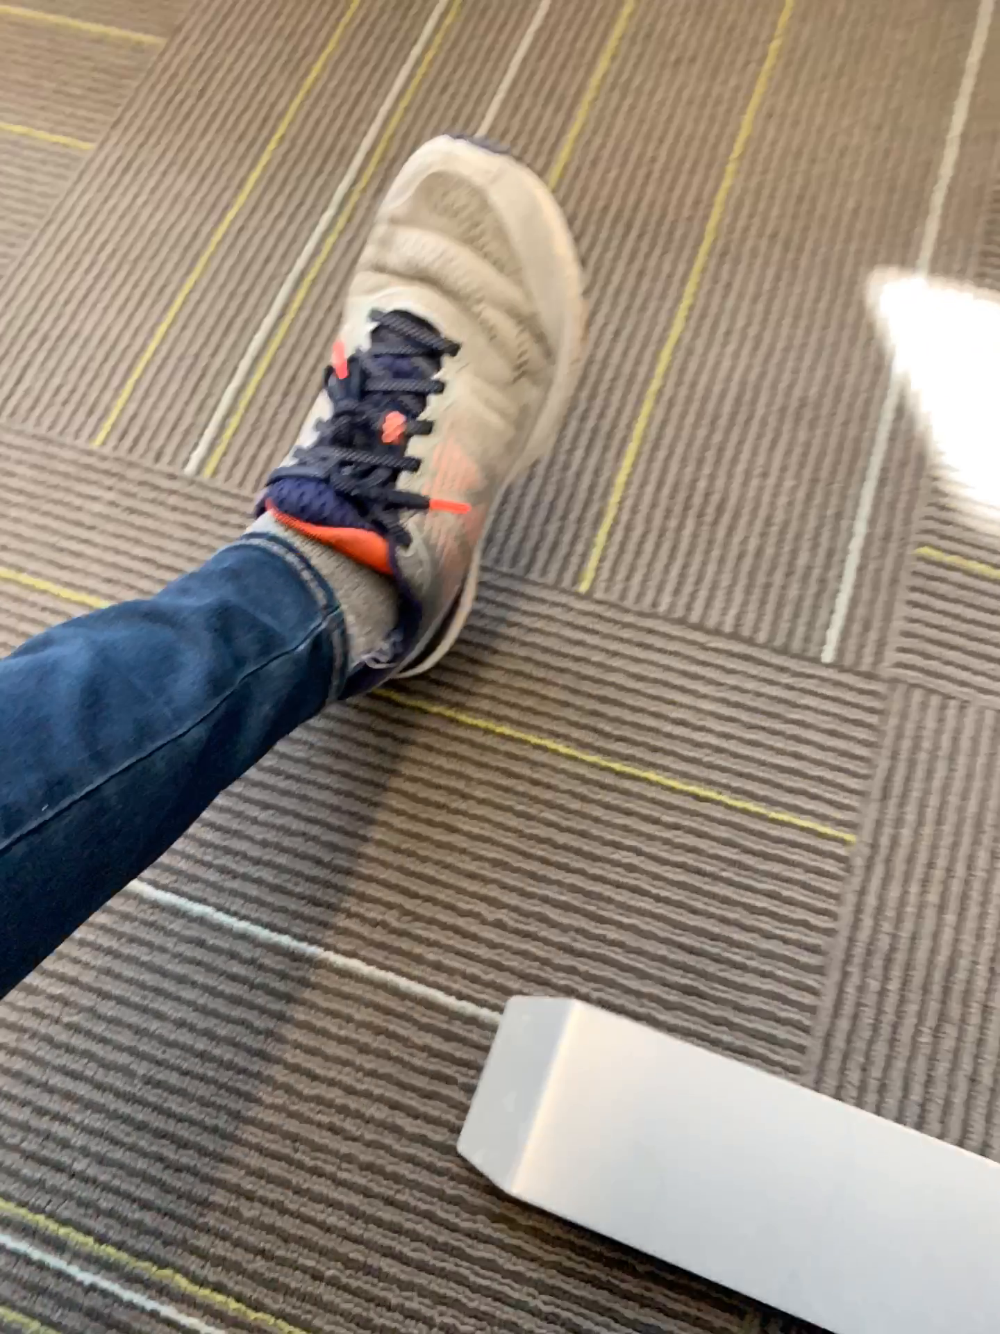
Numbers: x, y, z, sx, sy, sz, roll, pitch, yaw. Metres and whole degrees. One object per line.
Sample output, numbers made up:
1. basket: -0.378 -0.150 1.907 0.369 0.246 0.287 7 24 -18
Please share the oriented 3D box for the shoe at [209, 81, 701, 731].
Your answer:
1. shoe: -0.020 -0.110 0.475 0.120 0.110 0.230 27 109 13
